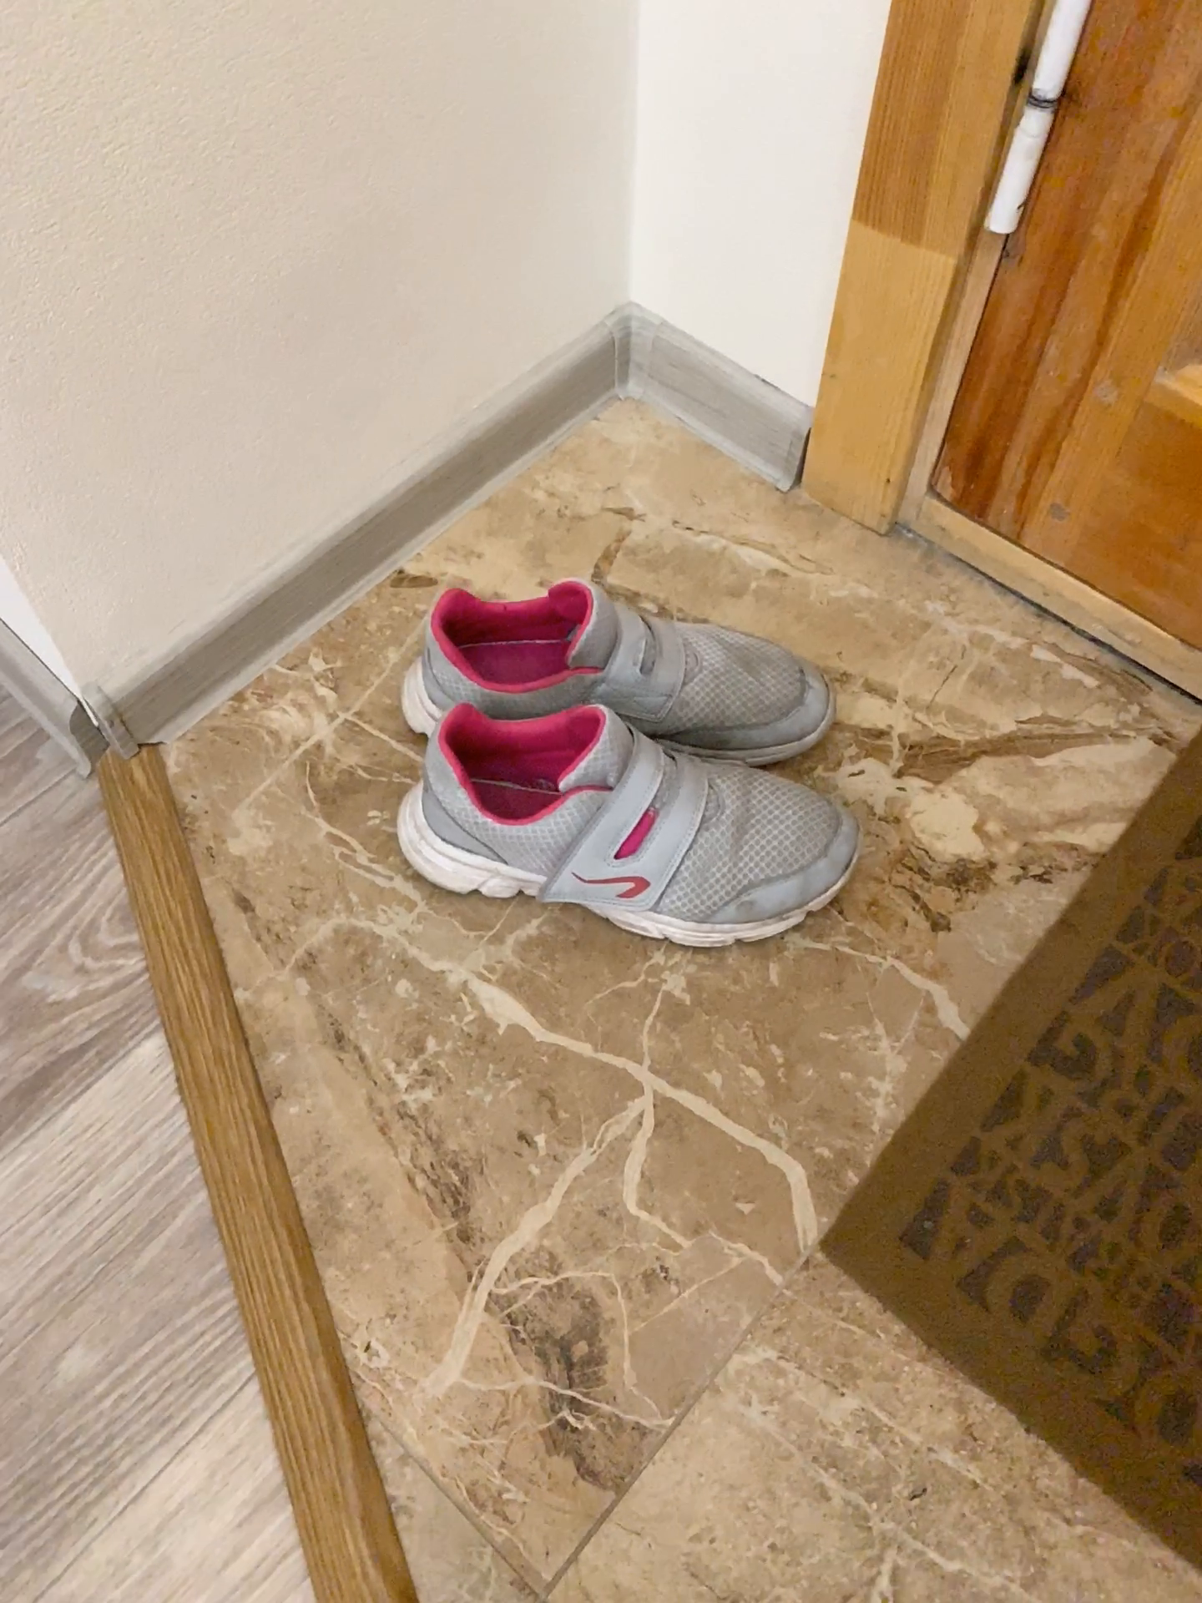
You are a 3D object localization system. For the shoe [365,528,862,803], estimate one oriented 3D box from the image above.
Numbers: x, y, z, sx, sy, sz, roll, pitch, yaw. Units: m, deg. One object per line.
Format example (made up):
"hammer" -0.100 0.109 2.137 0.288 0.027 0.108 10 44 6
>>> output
"shoe" 0.008 -0.075 0.689 0.250 0.100 0.100 3 58 1

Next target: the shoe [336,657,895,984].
"shoe" 0.011 0.011 0.641 0.260 0.100 0.100 7 58 4
